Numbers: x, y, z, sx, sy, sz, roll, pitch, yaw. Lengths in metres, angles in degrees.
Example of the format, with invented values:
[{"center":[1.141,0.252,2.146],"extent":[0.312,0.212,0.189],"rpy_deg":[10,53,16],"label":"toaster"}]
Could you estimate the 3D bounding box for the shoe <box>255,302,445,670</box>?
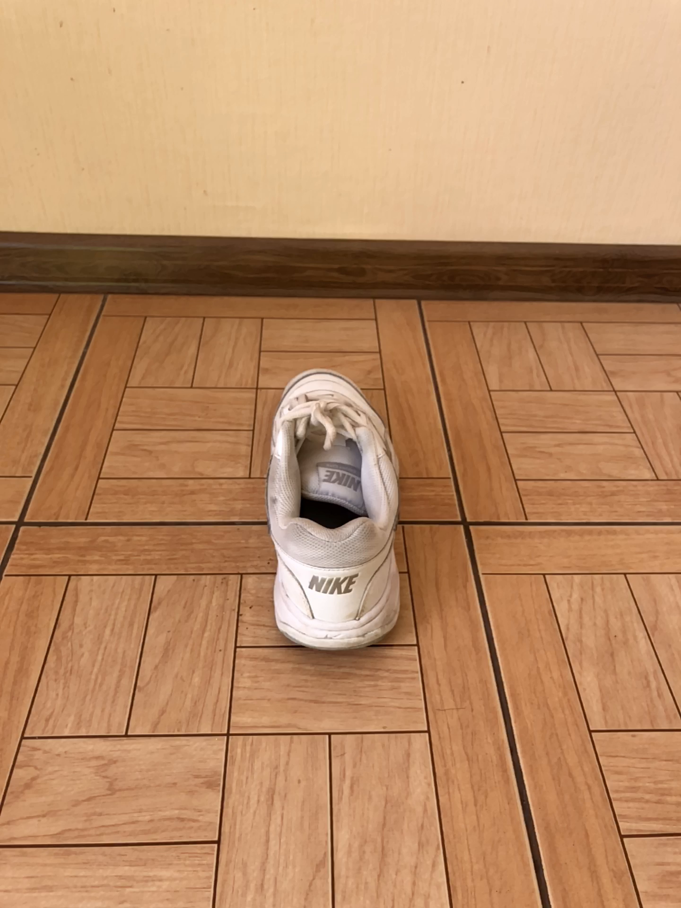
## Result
[{"center":[-0.002,0.007,0.527],"extent":[0.100,0.100,0.261],"rpy_deg":[0,43,-3],"label":"shoe"}]
